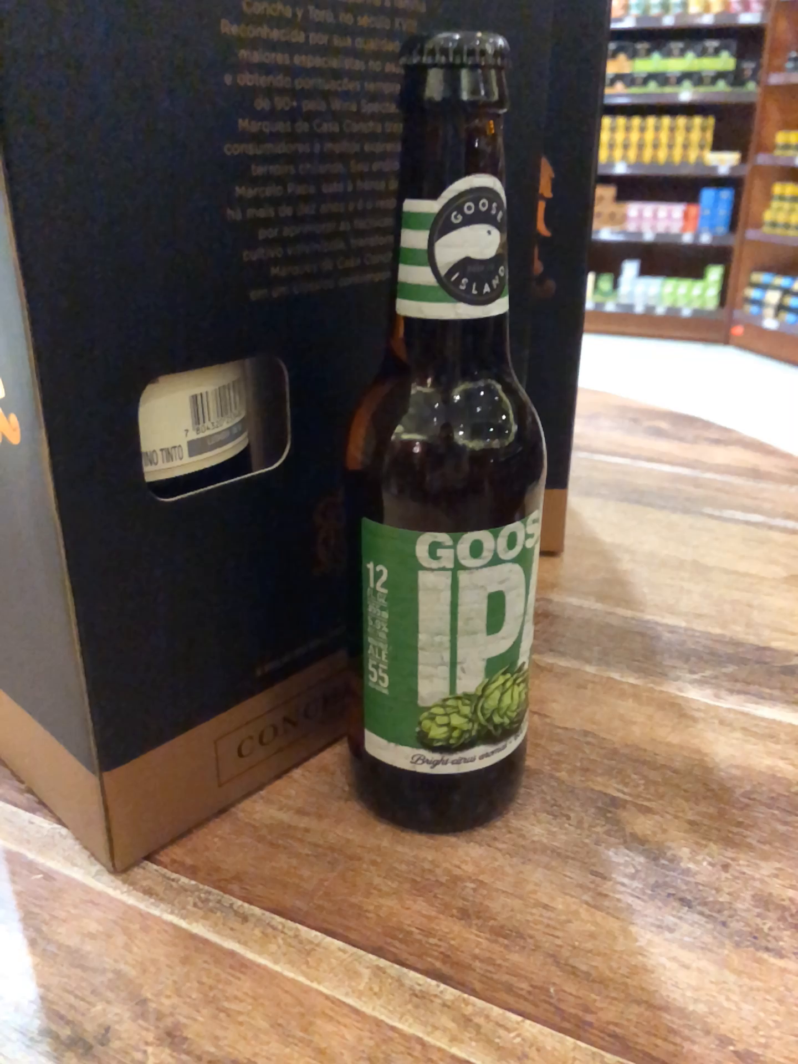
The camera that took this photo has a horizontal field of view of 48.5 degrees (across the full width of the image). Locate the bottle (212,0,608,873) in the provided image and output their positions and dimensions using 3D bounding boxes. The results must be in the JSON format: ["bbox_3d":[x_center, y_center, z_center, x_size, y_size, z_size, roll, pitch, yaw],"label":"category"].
[{"bbox_3d":[0.002,-0.026,0.252,0.070,0.228,0.060,-21,31,-40],"label":"bottle"}]
